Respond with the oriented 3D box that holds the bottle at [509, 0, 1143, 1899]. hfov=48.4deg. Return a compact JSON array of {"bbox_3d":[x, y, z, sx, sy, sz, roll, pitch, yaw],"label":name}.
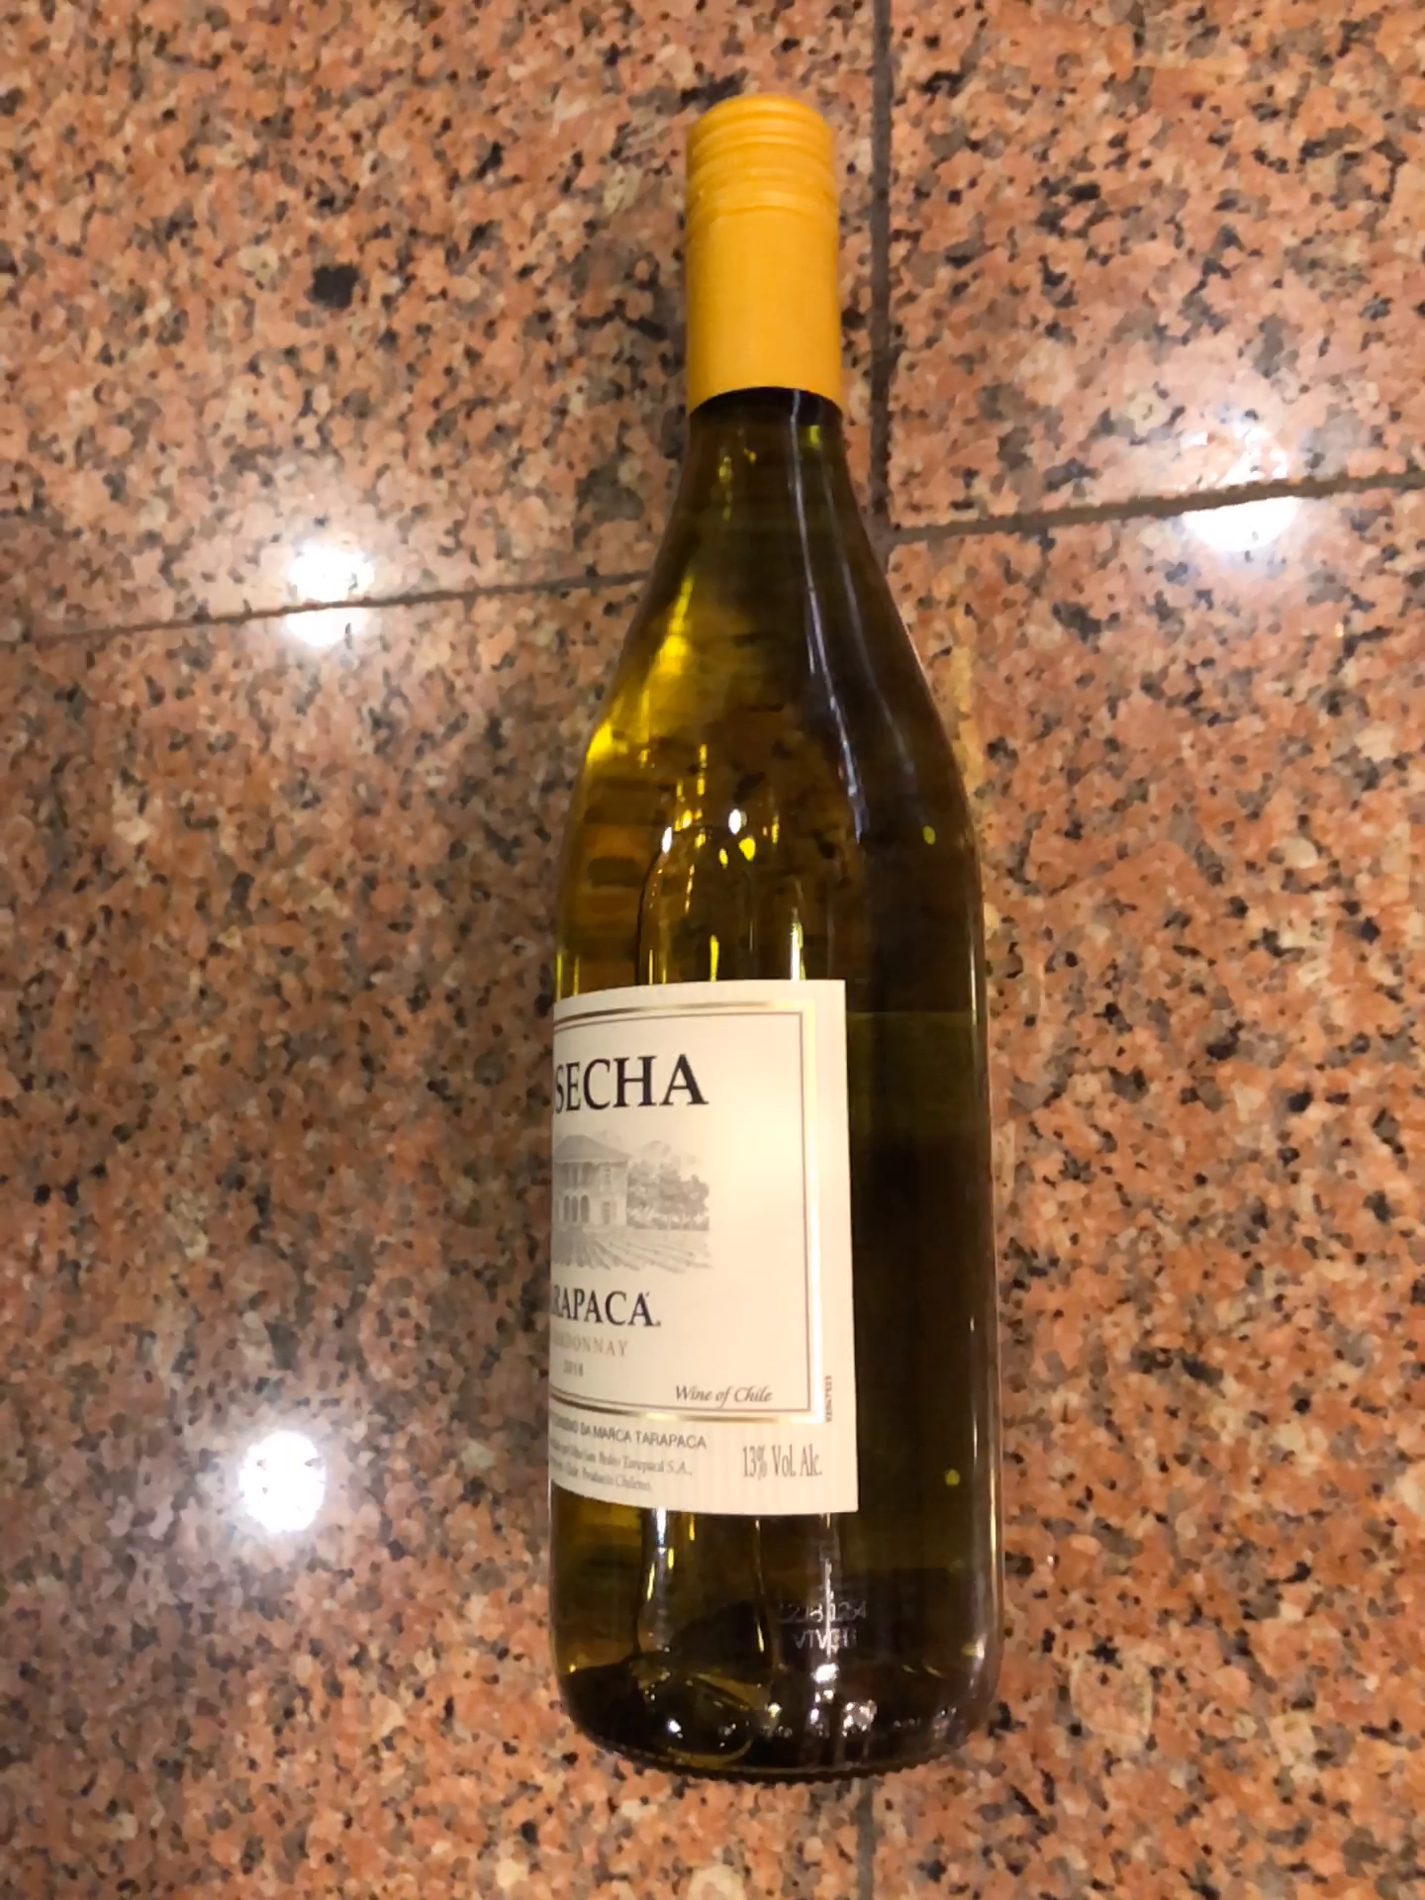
[{"bbox_3d":[0.021,-0.024,0.291,0.090,0.070,0.340,-4,81,20],"label":"bottle"}]
